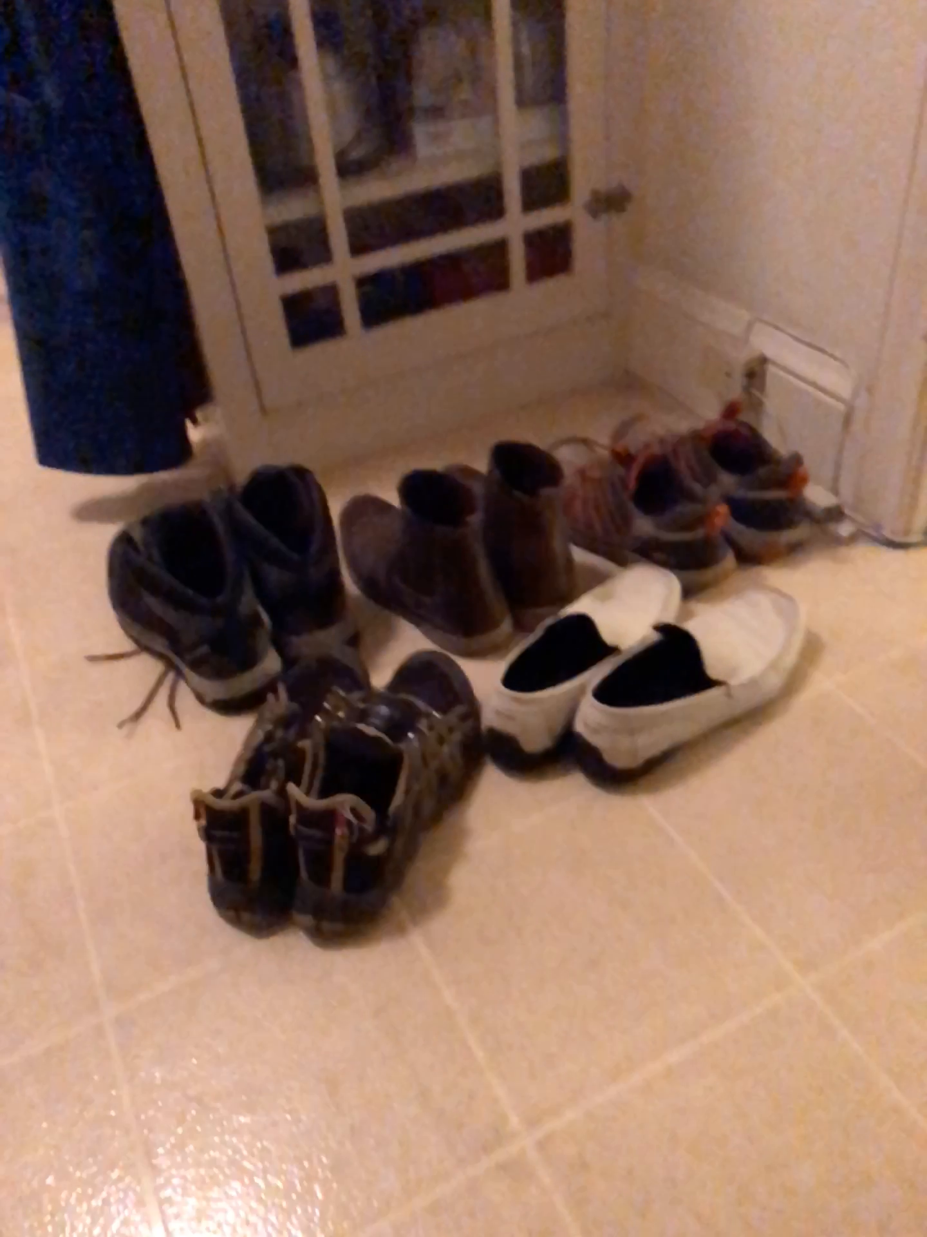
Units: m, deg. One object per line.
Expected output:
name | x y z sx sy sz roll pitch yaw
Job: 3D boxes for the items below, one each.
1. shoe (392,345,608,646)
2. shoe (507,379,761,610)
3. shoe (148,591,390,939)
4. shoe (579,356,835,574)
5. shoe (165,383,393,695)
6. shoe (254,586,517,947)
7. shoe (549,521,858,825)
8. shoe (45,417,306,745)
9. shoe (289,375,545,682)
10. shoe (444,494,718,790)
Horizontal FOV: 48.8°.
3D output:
shoe | 0.036 -0.151 1.164 0.110 0.192 0.325 -18 40 -15
shoe | 0.182 -0.153 1.168 0.110 0.112 0.315 -23 41 -20
shoe | -0.155 0.115 0.901 0.110 0.122 0.295 1 39 9
shoe | 0.274 -0.192 1.214 0.110 0.112 0.315 -23 41 -20
shoe | -0.208 -0.100 1.131 0.110 0.192 0.325 -22 41 -19
shoe | -0.052 0.114 0.893 0.110 0.122 0.295 8 40 18
shoe | 0.227 0.040 0.954 0.304 0.112 0.110 -32 45 -29
shoe | -0.305 -0.051 1.071 0.110 0.192 0.324 -26 42 -24
shoe | -0.055 -0.110 1.128 0.110 0.192 0.324 -25 42 -23
shoe | 0.124 0.011 1.002 0.110 0.112 0.304 23 46 32
